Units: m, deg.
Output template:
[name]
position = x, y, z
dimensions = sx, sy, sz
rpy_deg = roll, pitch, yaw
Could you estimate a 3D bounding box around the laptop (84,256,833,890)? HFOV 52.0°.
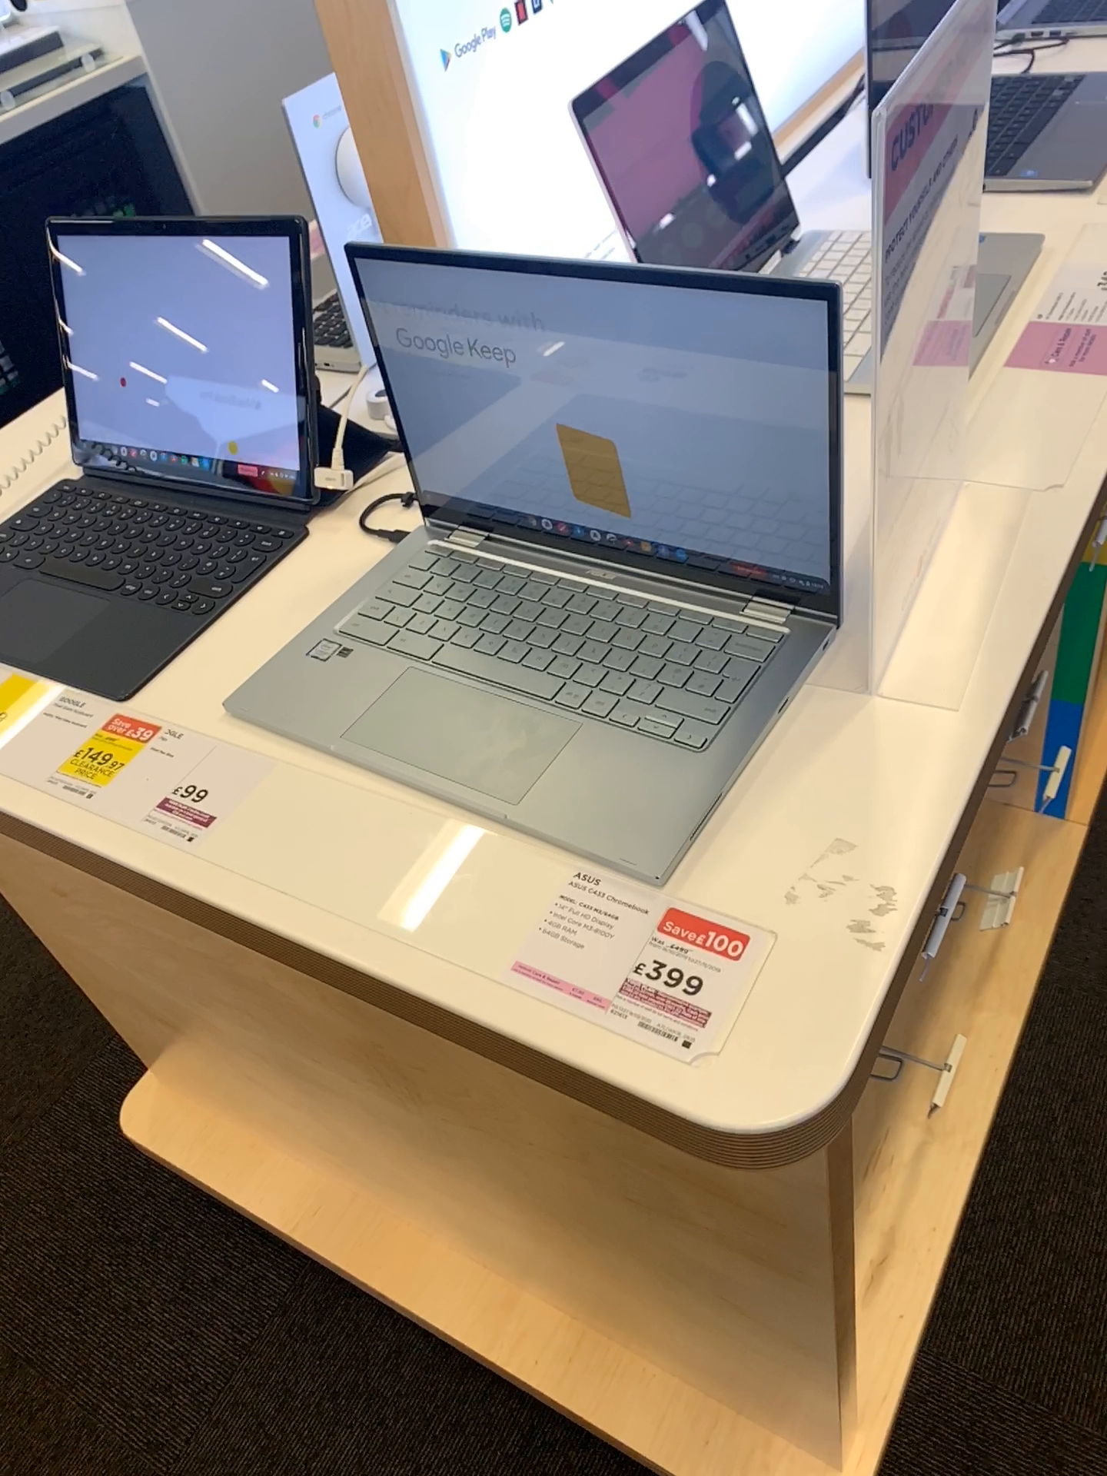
[laptop]
position = -0.040, -0.109, 0.619
dimensions = 0.318, 0.195, 0.204
rpy_deg = 19, 53, 31
